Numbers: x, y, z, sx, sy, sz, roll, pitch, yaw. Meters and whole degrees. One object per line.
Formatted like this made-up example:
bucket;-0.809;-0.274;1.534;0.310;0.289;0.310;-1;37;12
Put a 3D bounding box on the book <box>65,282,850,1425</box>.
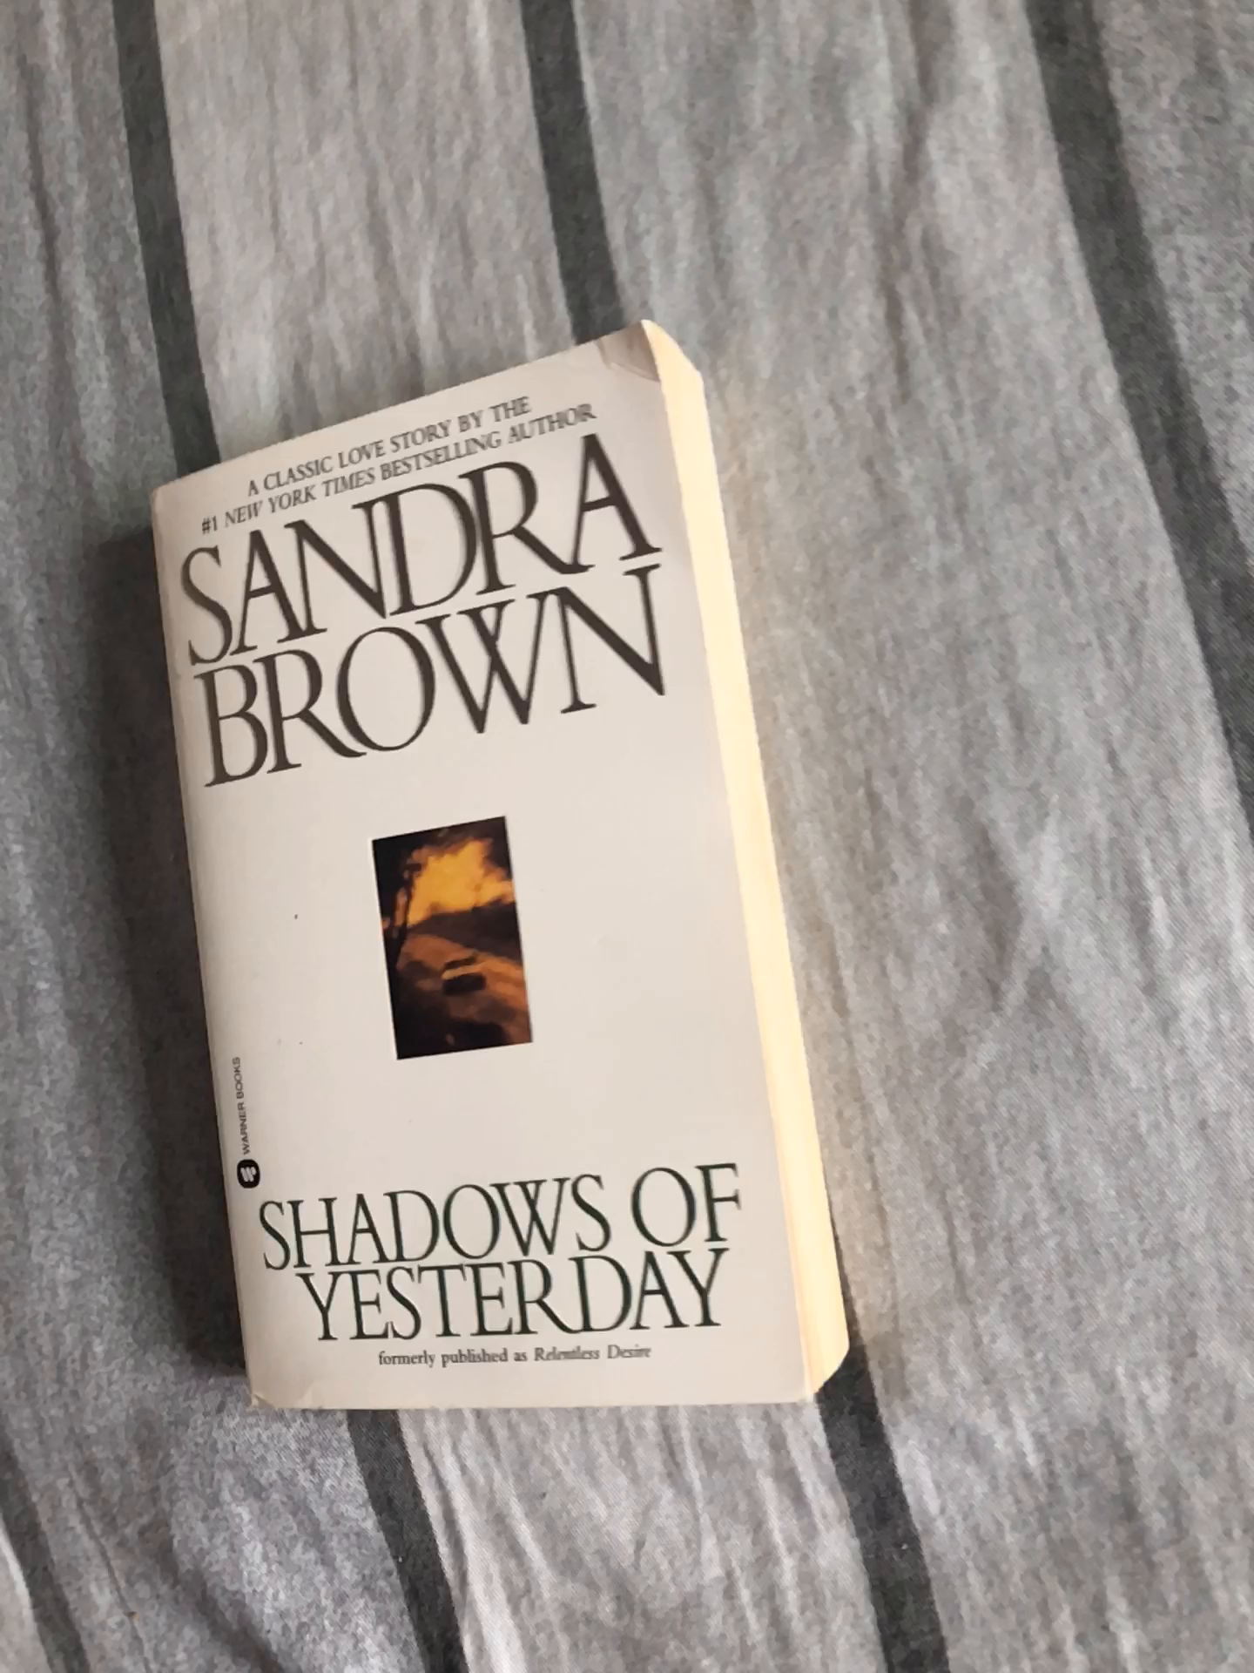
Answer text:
book;-0.034;0.007;0.252;0.120;0.030;0.180;-9;85;17
